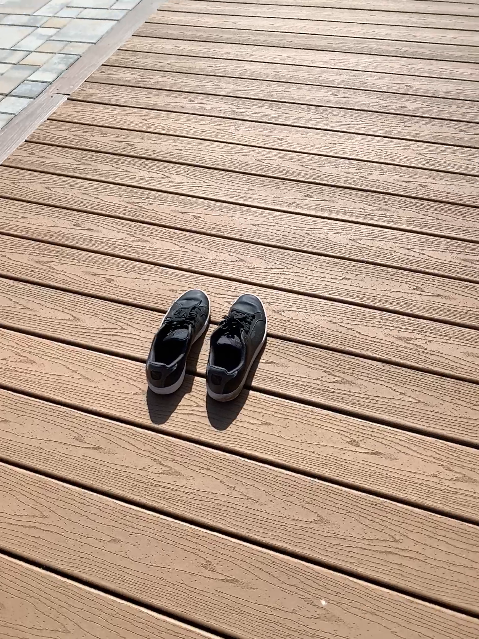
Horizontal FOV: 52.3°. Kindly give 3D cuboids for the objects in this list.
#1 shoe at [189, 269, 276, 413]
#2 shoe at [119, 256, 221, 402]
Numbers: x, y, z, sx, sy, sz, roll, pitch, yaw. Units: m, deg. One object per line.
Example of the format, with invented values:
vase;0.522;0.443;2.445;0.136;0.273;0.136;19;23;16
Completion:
shoe;-0.005;0.037;1.024;0.110;0.104;0.281;9;53;11
shoe;-0.138;0.012;1.062;0.112;0.107;0.301;9;53;11
